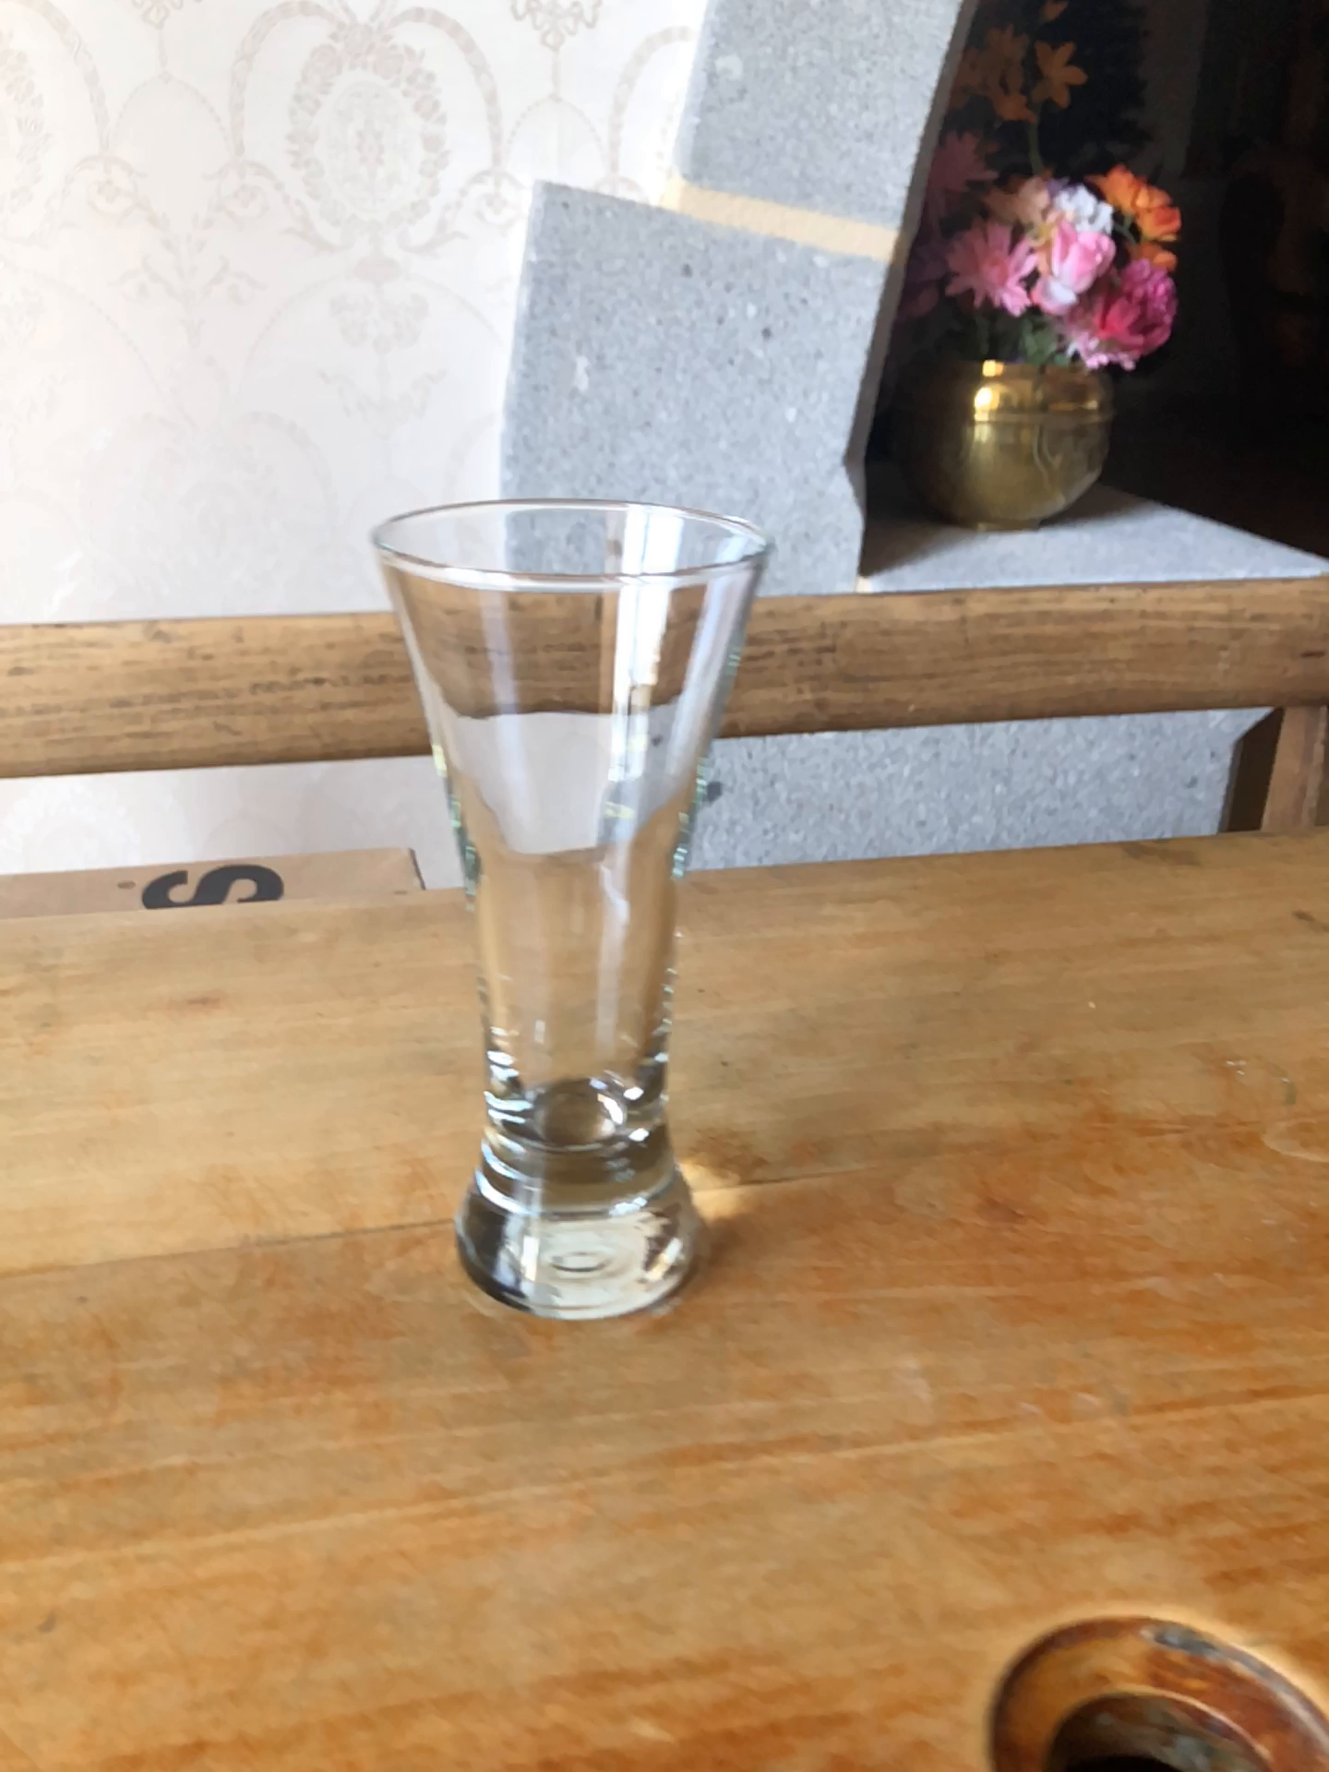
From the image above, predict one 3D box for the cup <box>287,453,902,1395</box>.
[{"bbox_3d":[-0.012,0.001,0.282,0.070,0.149,0.080,20,30,36],"label":"cup"}]
